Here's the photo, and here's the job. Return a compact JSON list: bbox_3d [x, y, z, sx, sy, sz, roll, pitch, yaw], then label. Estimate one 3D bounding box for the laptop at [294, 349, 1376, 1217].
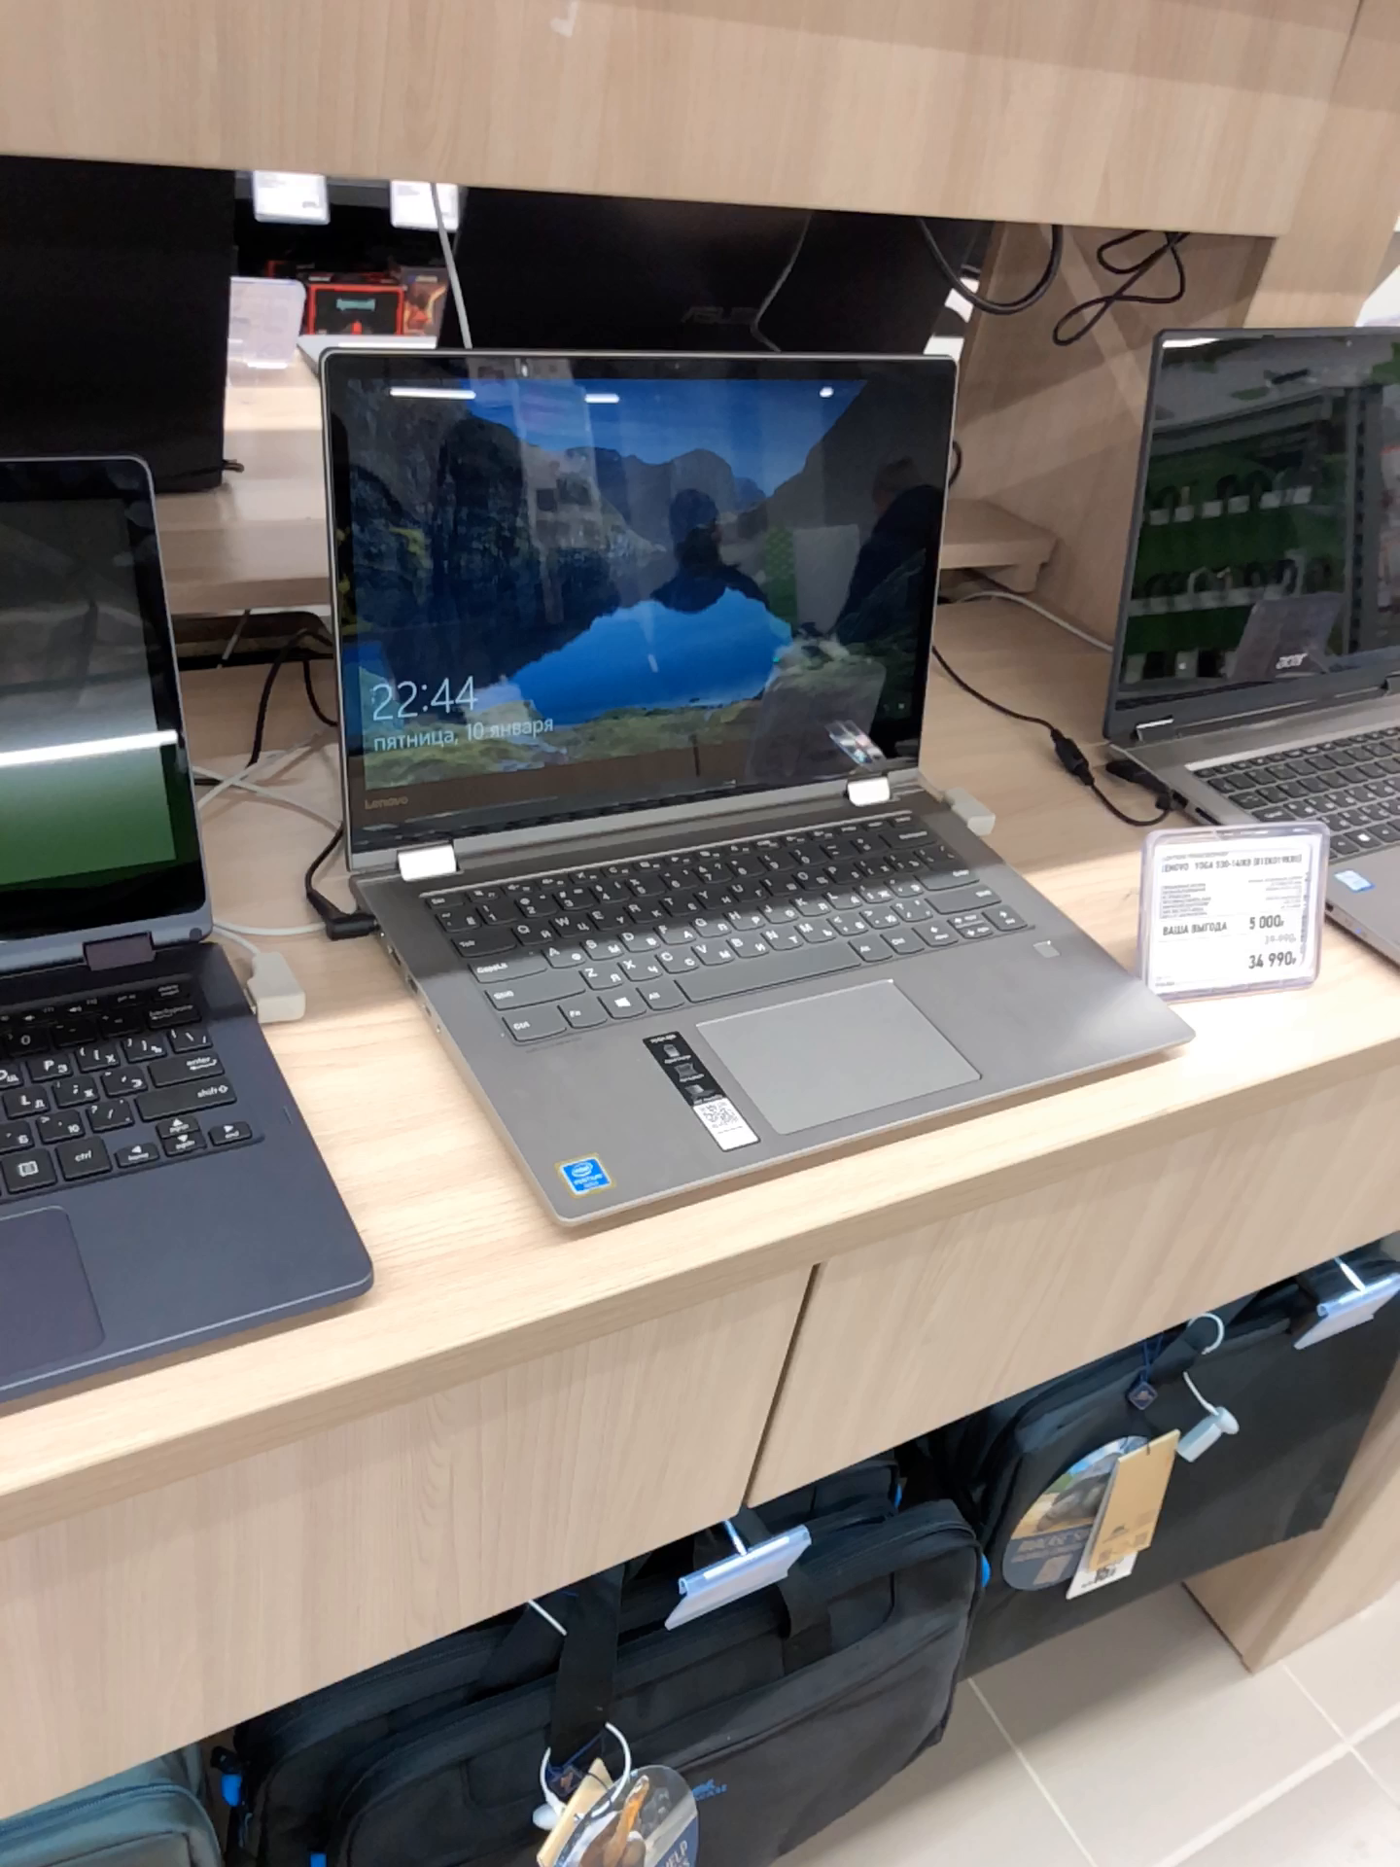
[{"bbox_3d":[0.037,-0.090,0.658,0.312,0.205,0.287,-11,40,-33],"label":"laptop"}]
